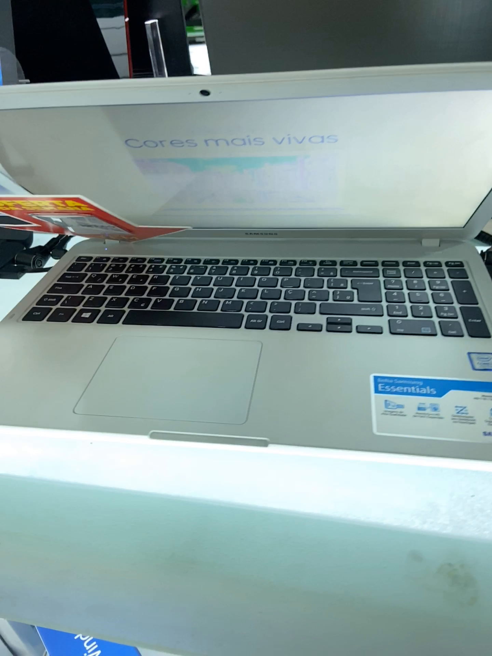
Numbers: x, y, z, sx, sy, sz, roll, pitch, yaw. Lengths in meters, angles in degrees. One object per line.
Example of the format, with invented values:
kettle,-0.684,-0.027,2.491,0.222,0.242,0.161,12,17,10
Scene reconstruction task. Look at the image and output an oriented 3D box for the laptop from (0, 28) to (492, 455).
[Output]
laptop,-0.009,-0.076,0.332,0.367,0.162,0.233,2,36,10
